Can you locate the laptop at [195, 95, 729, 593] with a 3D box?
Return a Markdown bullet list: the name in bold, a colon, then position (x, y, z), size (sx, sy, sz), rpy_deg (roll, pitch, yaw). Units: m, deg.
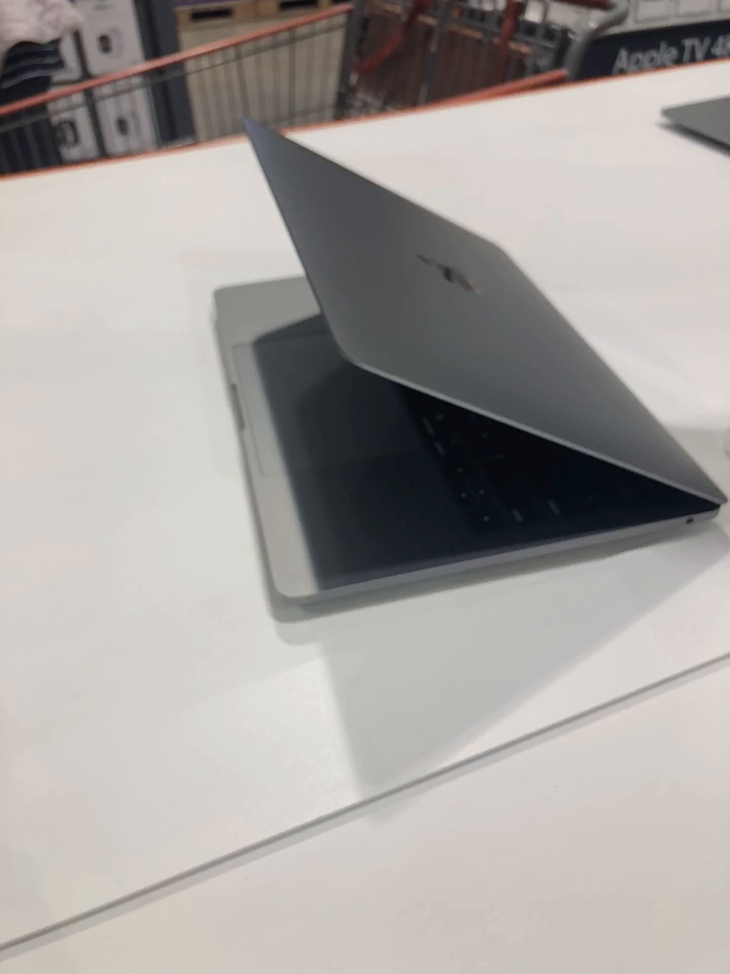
- **laptop**: position (0.030, -0.106, 0.448), size (0.204, 0.109, 0.296), rpy_deg (-11, 40, -8)
